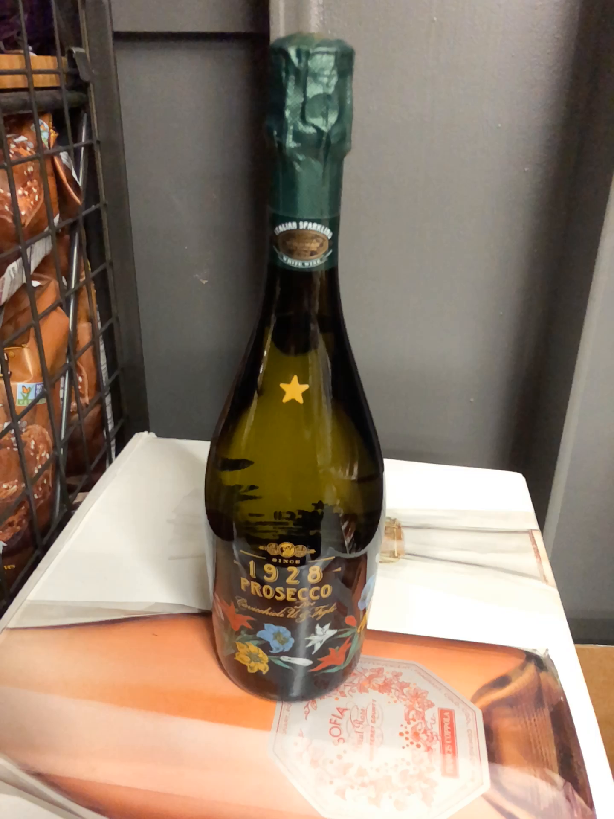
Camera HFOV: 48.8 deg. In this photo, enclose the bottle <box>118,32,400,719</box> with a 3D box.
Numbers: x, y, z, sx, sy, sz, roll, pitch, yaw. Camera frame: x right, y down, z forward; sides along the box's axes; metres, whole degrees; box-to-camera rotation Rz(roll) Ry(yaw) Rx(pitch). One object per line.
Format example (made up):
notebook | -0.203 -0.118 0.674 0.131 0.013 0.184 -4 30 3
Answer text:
bottle | -0.012 -0.003 0.317 0.090 0.299 0.090 0 26 0
